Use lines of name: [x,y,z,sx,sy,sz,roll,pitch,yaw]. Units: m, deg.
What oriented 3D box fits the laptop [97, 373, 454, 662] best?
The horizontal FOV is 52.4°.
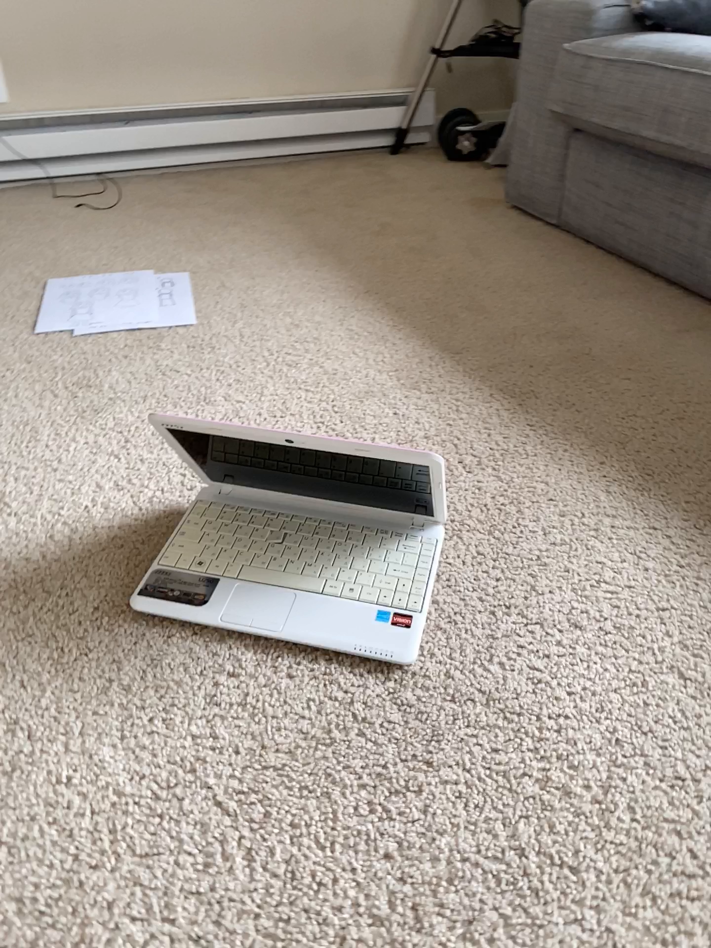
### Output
laptop: [-0.063,0.031,0.713,0.286,0.147,0.188,8,38,12]
